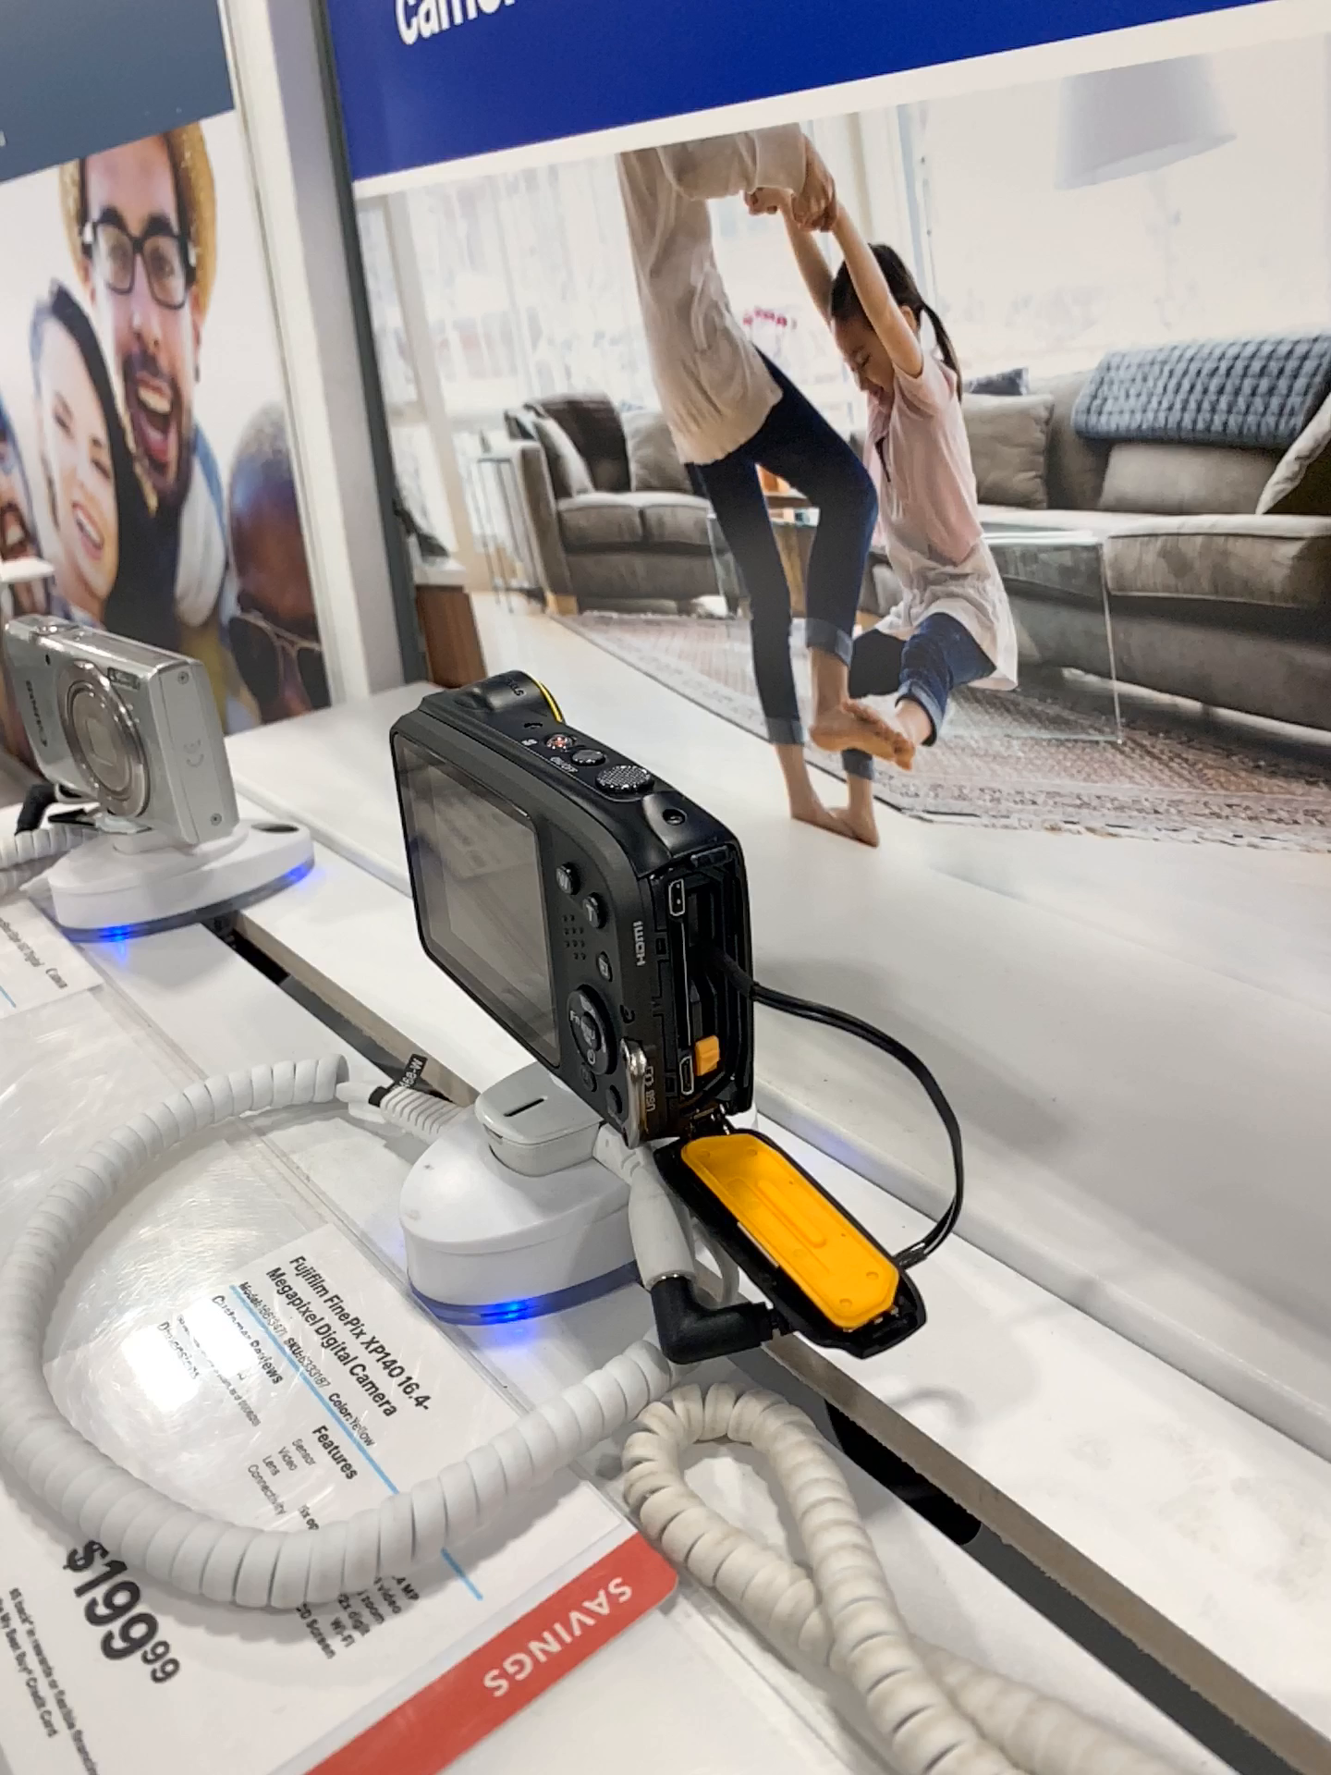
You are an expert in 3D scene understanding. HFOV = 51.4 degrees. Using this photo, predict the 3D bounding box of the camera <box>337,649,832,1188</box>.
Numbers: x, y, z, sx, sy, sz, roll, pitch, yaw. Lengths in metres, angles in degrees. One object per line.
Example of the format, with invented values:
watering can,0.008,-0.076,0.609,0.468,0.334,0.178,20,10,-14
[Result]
camera,-0.020,-0.001,0.274,0.040,0.060,0.110,-19,32,-31
